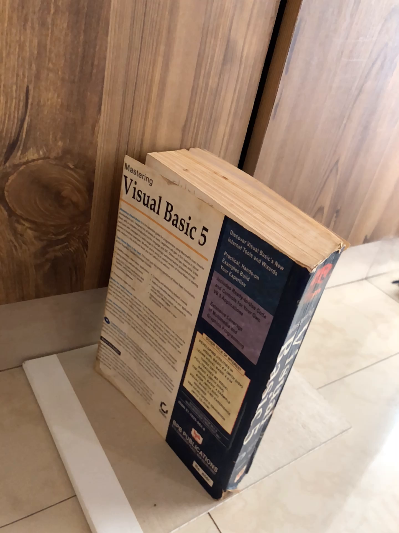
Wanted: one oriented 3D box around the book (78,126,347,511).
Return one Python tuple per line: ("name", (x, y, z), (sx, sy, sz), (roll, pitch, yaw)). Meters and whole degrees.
("book", (-0.021, 0.038, 0.382), (0.060, 0.249, 0.210), (-18, 42, -39))
